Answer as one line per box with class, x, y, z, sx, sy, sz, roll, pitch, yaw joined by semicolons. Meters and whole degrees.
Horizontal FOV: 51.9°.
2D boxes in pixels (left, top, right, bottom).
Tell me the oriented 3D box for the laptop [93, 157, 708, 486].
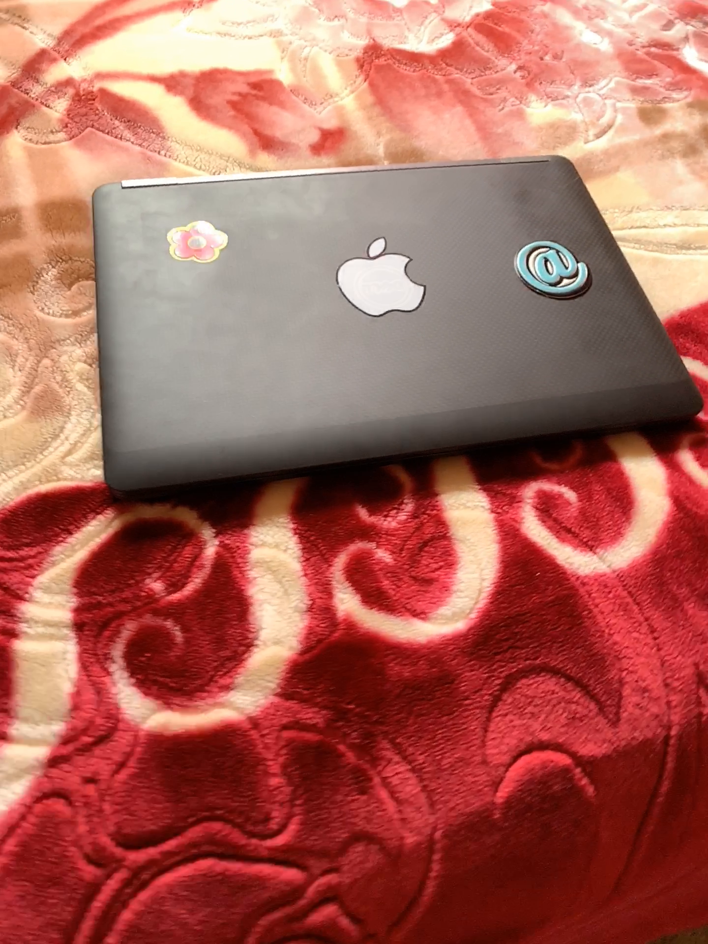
laptop;0.015;-0.101;0.402;0.299;0.001;0.209;-8;60;-10
